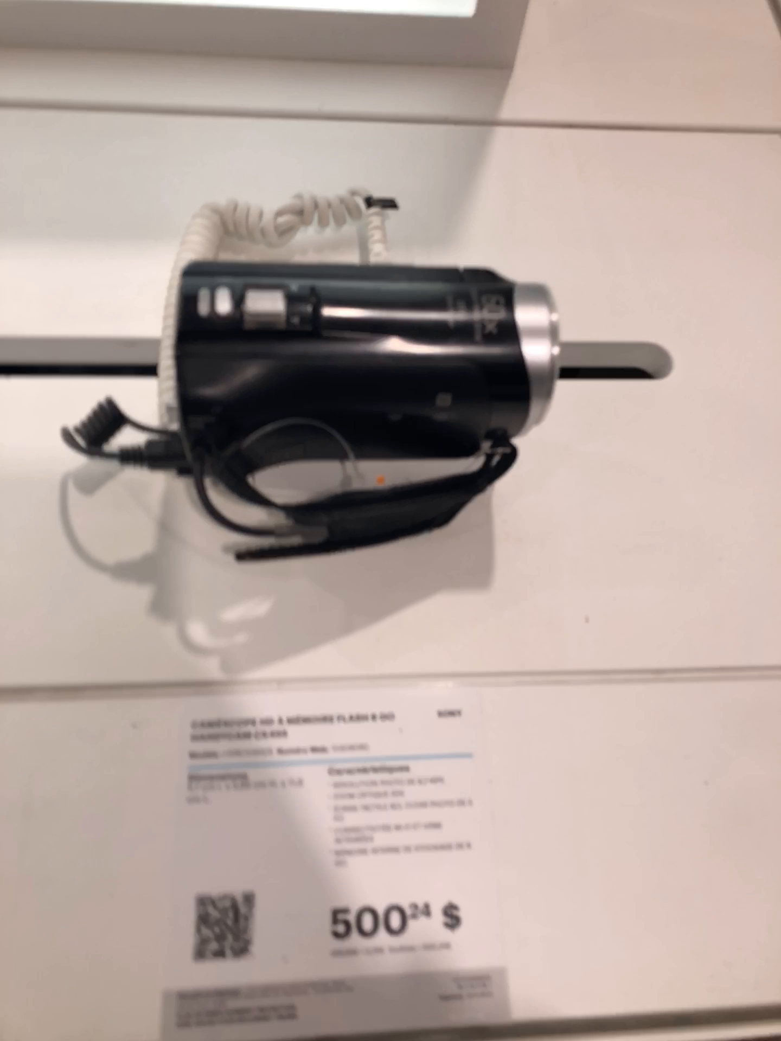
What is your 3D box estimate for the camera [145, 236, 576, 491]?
[{"bbox_3d":[-0.011,-0.050,0.278,0.121,0.058,0.057,-2,65,-6],"label":"camera"}]
